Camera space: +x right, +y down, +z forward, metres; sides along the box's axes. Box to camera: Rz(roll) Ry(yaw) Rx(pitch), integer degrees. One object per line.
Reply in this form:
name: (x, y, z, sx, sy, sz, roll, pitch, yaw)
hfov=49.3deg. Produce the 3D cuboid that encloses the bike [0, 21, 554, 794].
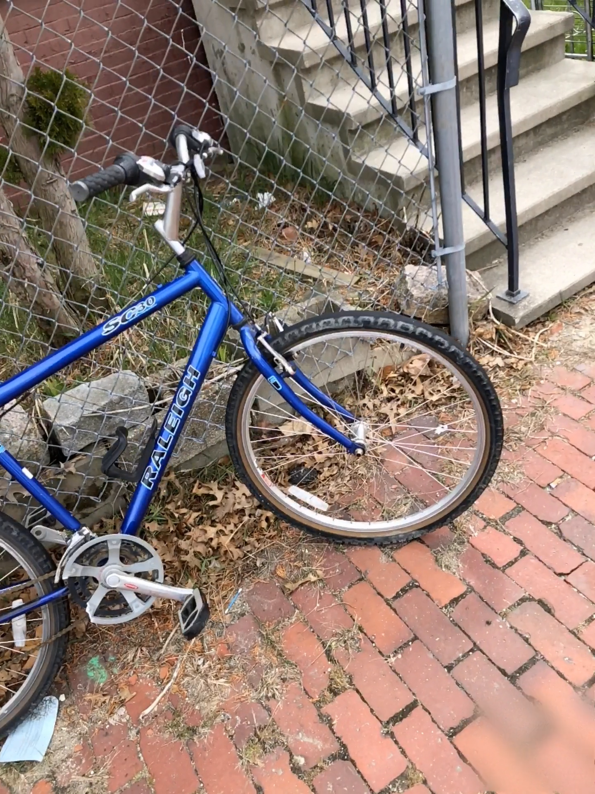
bike: (-0.434, 0.048, 1.371, 1.664, 1.024, 0.683, -22, 35, -6)
